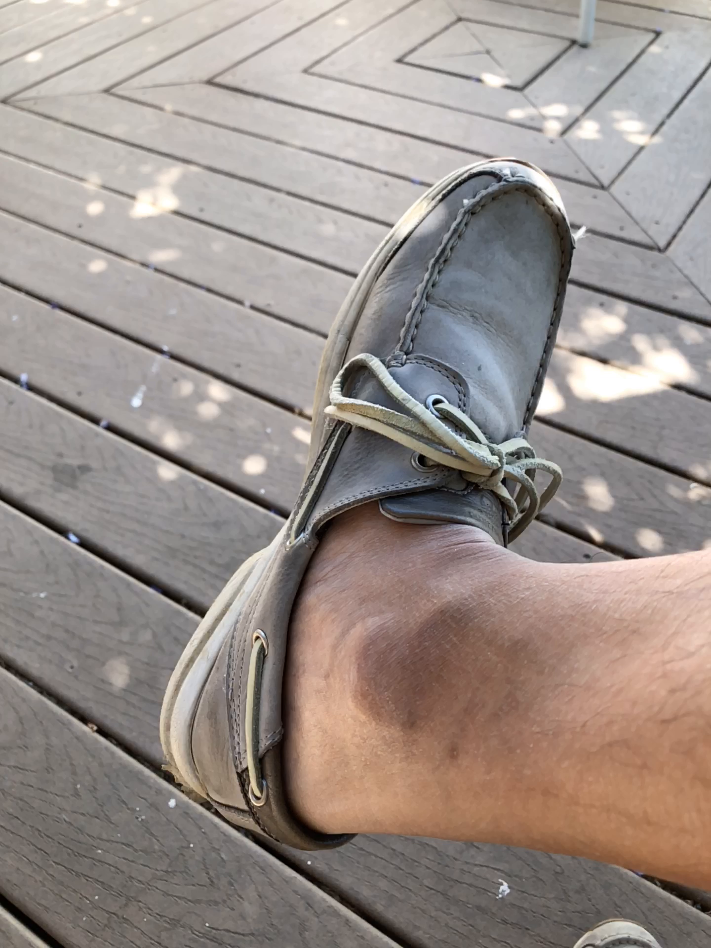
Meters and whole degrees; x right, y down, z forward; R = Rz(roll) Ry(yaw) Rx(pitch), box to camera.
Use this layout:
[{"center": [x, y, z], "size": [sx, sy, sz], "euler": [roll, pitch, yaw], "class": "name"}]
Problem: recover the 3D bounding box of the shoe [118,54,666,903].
[{"center": [0.032, -0.005, 0.352], "size": [0.083, 0.116, 0.326], "euler": [2, 65, 50], "class": "shoe"}]
